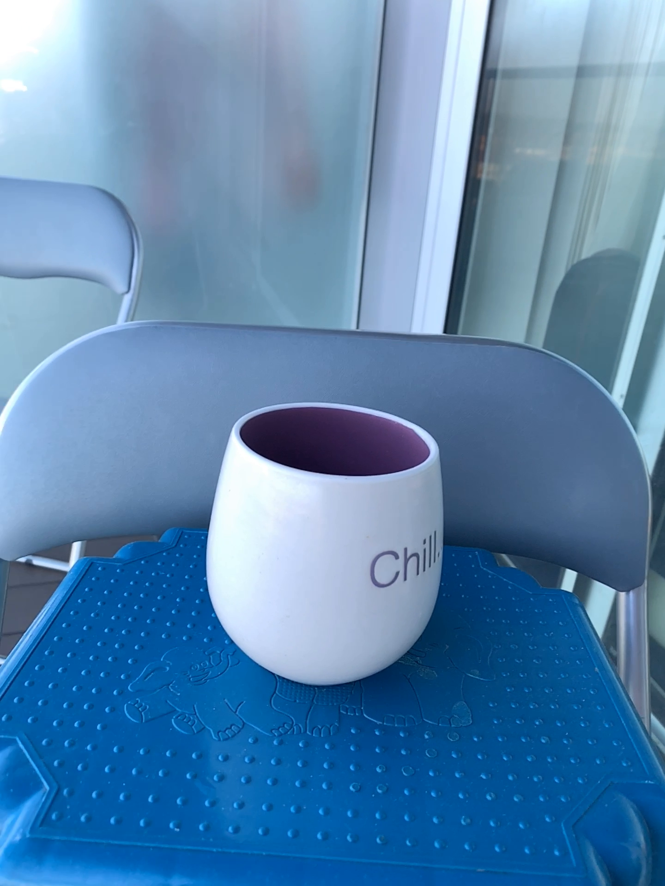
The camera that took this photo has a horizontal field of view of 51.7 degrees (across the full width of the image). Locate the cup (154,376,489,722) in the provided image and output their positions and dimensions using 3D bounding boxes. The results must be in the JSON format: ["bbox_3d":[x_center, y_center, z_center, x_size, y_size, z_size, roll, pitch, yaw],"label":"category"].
[{"bbox_3d":[-0.004,0.036,0.317,0.105,0.090,0.111,5,22,-2],"label":"cup"}]
